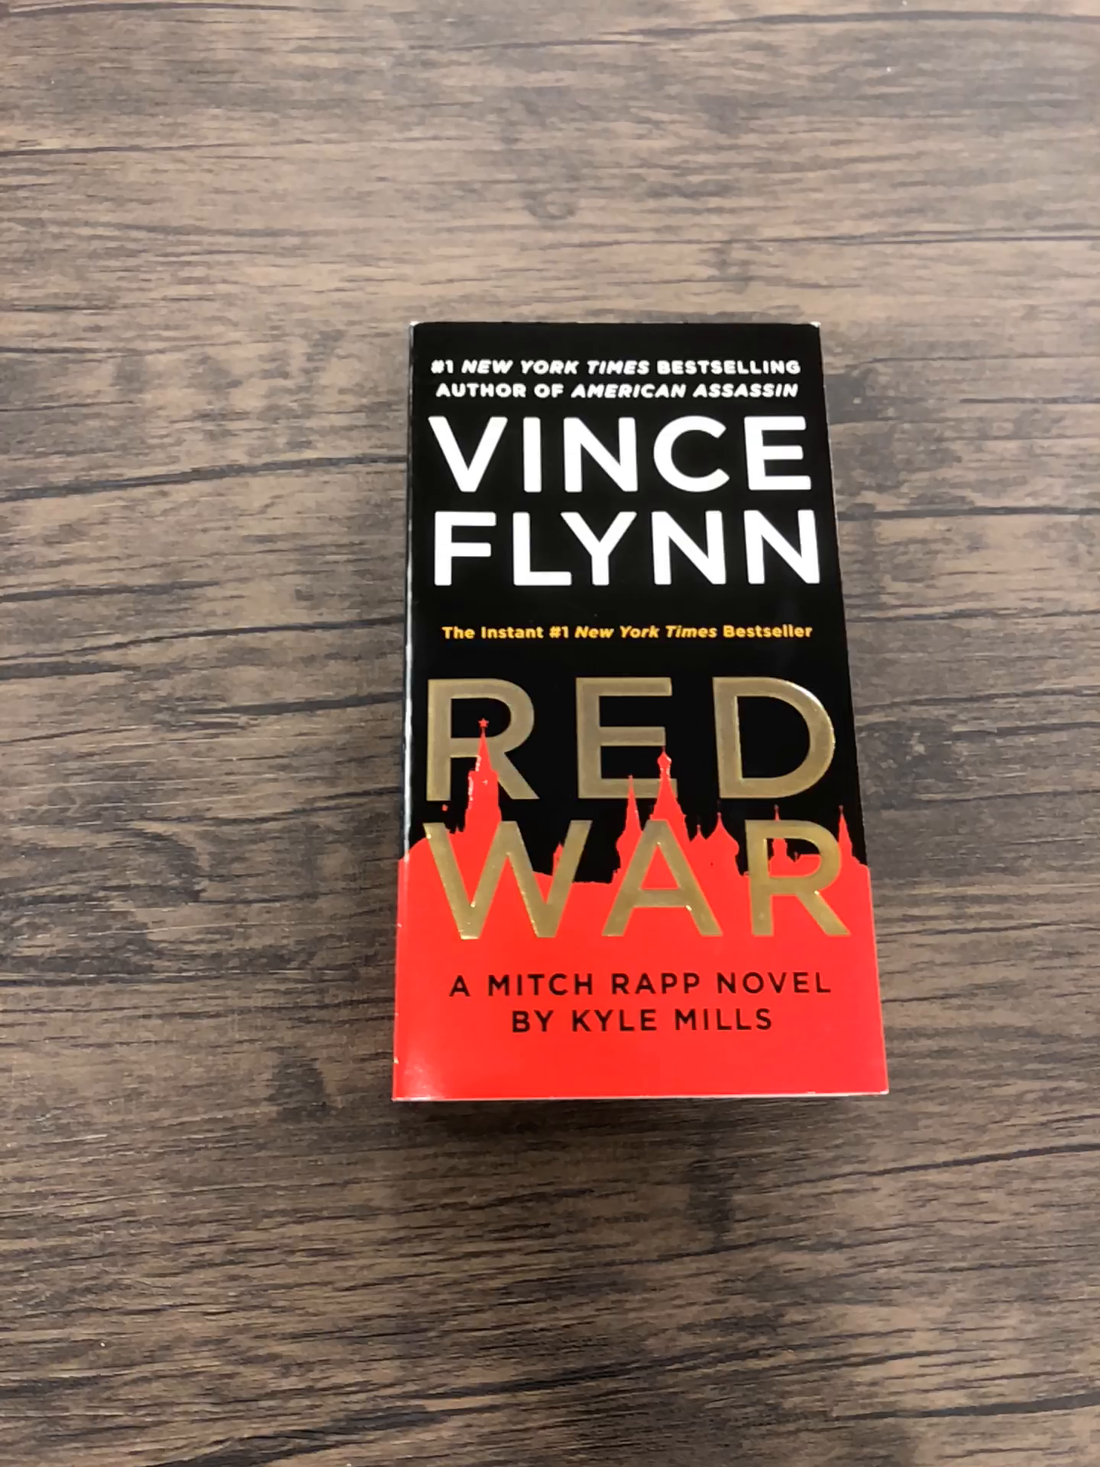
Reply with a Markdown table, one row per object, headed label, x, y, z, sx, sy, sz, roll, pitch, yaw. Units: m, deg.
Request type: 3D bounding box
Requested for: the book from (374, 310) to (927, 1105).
| label | x | y | z | sx | sy | sz | roll | pitch | yaw |
| --- | --- | --- | --- | --- | --- | --- | --- | --- | --- |
| book | 0.017 | -0.011 | 0.286 | 0.110 | 0.030 | 0.183 | -1 | 72 | -3 |
